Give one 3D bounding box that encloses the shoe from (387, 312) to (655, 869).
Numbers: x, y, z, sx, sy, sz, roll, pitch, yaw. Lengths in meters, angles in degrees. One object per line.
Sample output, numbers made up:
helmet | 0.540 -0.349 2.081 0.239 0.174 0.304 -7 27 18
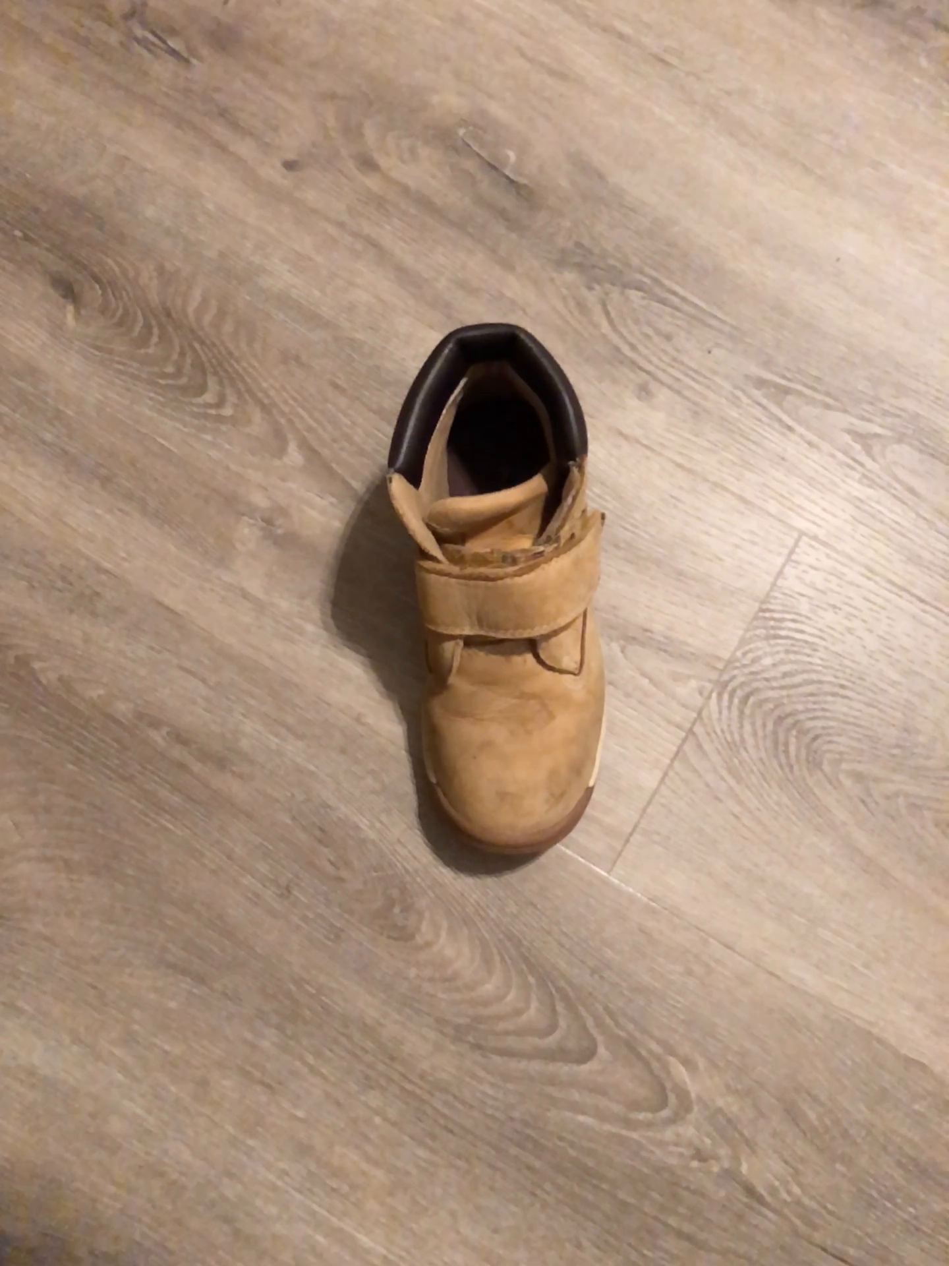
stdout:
shoe | 0.017 -0.011 0.420 0.090 0.100 0.200 0 80 1
